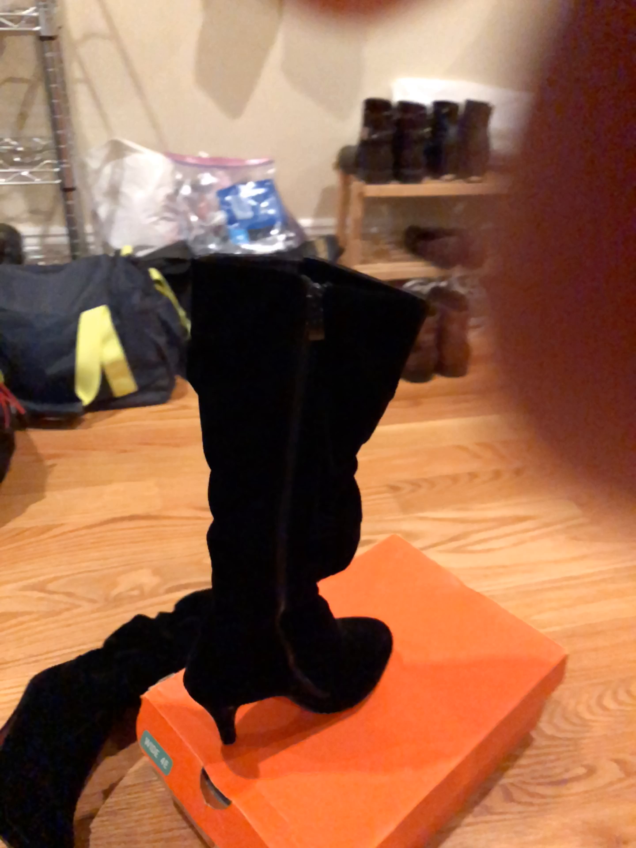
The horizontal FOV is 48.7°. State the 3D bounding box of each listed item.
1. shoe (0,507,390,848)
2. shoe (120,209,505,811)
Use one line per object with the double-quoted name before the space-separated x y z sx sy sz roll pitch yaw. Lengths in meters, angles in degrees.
"shoe" -0.141 0.246 0.699 0.400 0.089 0.207 -25 40 -38
"shoe" -0.005 0.068 0.512 0.217 0.397 0.089 -21 39 -34
